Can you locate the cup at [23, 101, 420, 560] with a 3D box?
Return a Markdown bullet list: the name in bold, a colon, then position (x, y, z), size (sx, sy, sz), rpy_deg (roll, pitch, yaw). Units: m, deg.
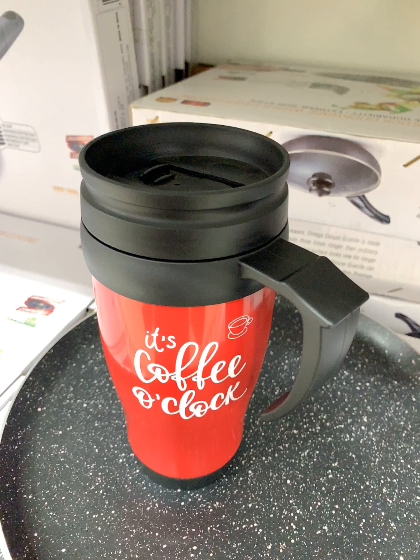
- **cup**: position (0.007, 0.026, 0.197), size (0.120, 0.169, 0.090), rpy_deg (27, 41, 32)
